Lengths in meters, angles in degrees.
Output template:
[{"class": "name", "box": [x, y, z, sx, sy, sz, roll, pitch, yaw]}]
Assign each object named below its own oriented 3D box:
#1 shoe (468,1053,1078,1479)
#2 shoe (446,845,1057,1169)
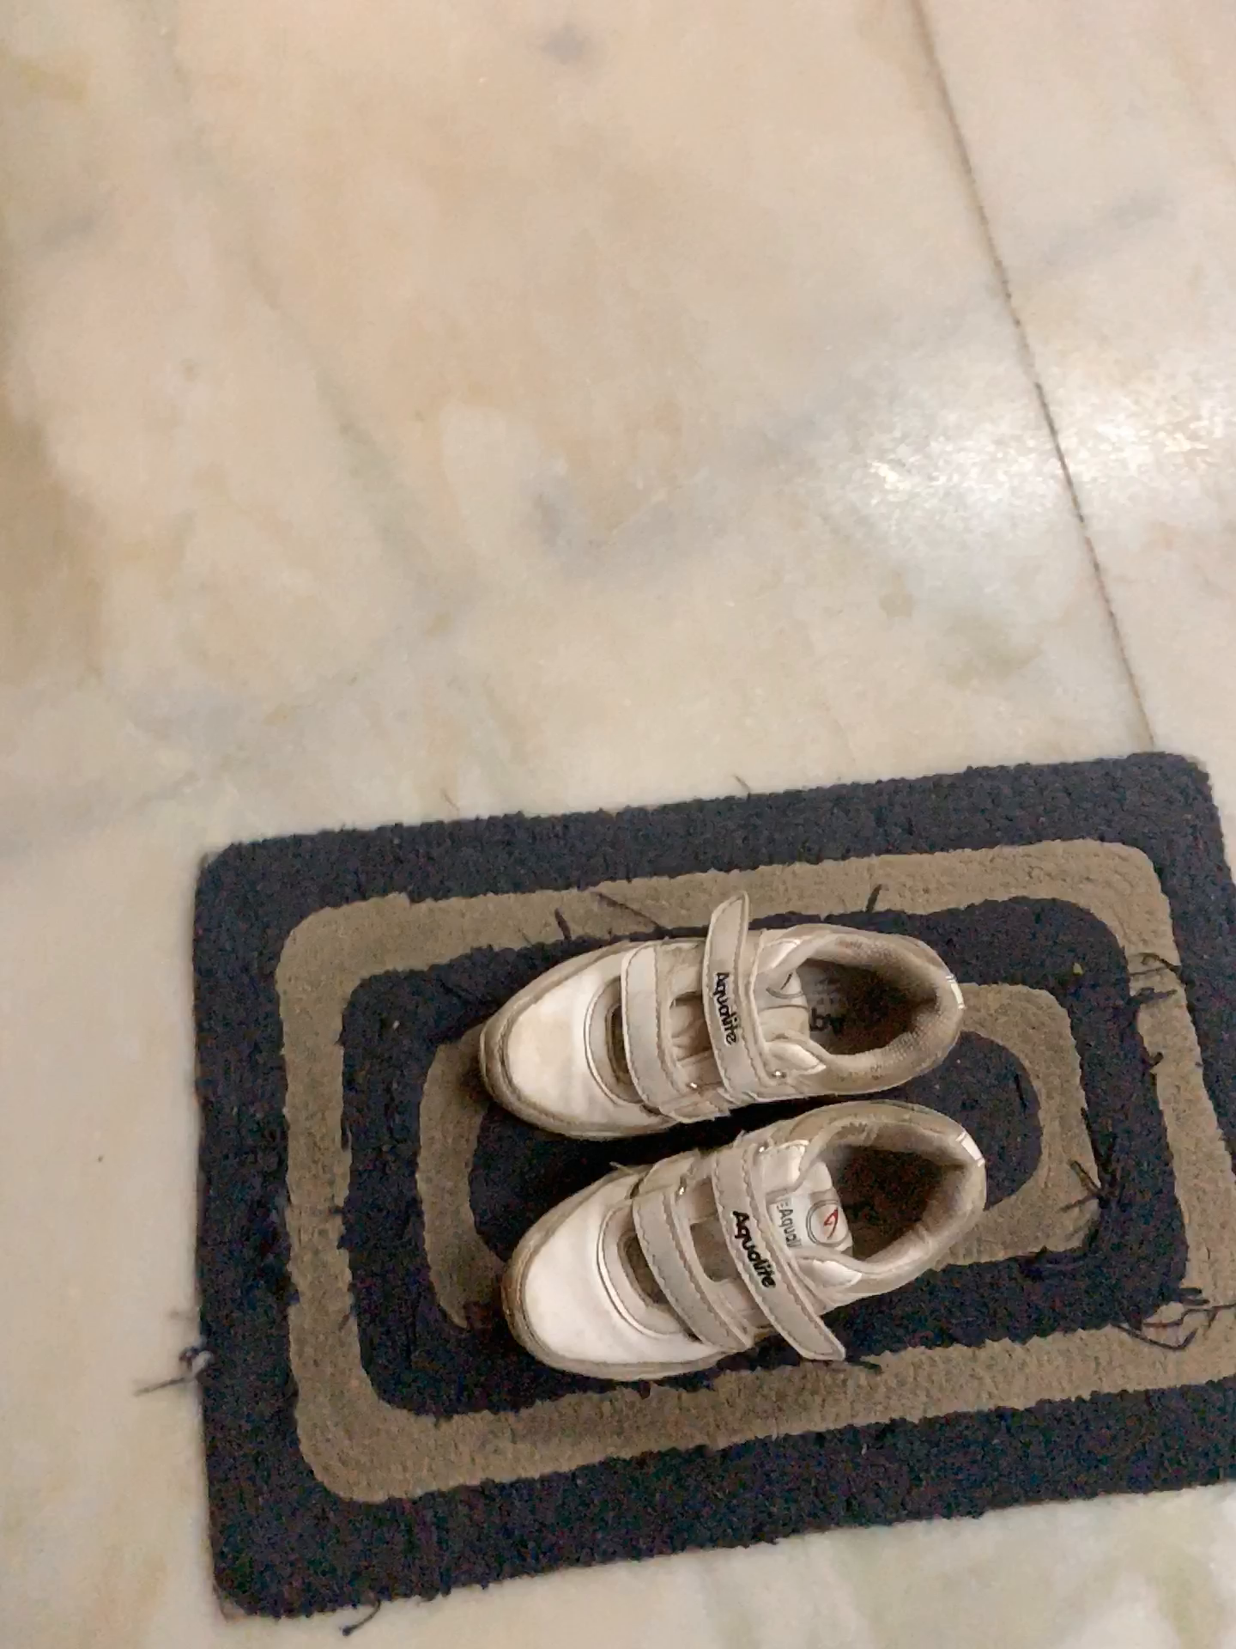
[{"class": "shoe", "box": [0.050, 0.157, 0.471, 0.190, 0.090, 0.080, -17, 76, -7]}, {"class": "shoe", "box": [0.044, 0.072, 0.482, 0.200, 0.090, 0.080, -8, 75, -5]}]
